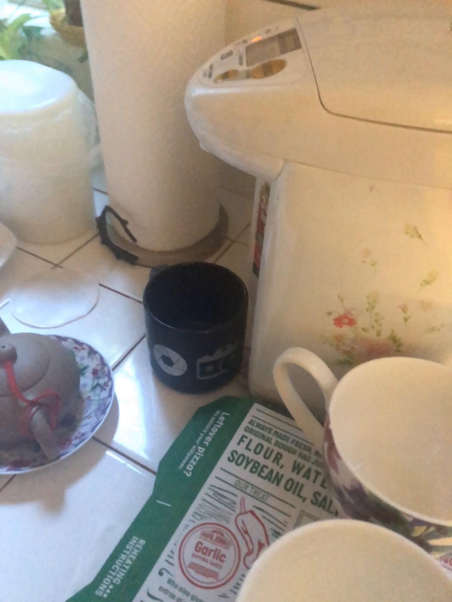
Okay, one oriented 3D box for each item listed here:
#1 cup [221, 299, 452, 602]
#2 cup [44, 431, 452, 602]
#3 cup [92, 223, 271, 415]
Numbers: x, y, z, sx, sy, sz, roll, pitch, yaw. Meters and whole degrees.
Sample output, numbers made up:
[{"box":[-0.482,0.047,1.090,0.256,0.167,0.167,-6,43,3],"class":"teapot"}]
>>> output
[{"box":[0.092,0.090,0.305,0.160,0.079,0.101,30,49,26],"class":"cup"},{"box":[0.027,0.149,0.220,0.160,0.079,0.101,18,45,15],"class":"cup"},{"box":[-0.043,0.010,0.457,0.090,0.079,0.140,-26,51,-28],"class":"cup"}]
